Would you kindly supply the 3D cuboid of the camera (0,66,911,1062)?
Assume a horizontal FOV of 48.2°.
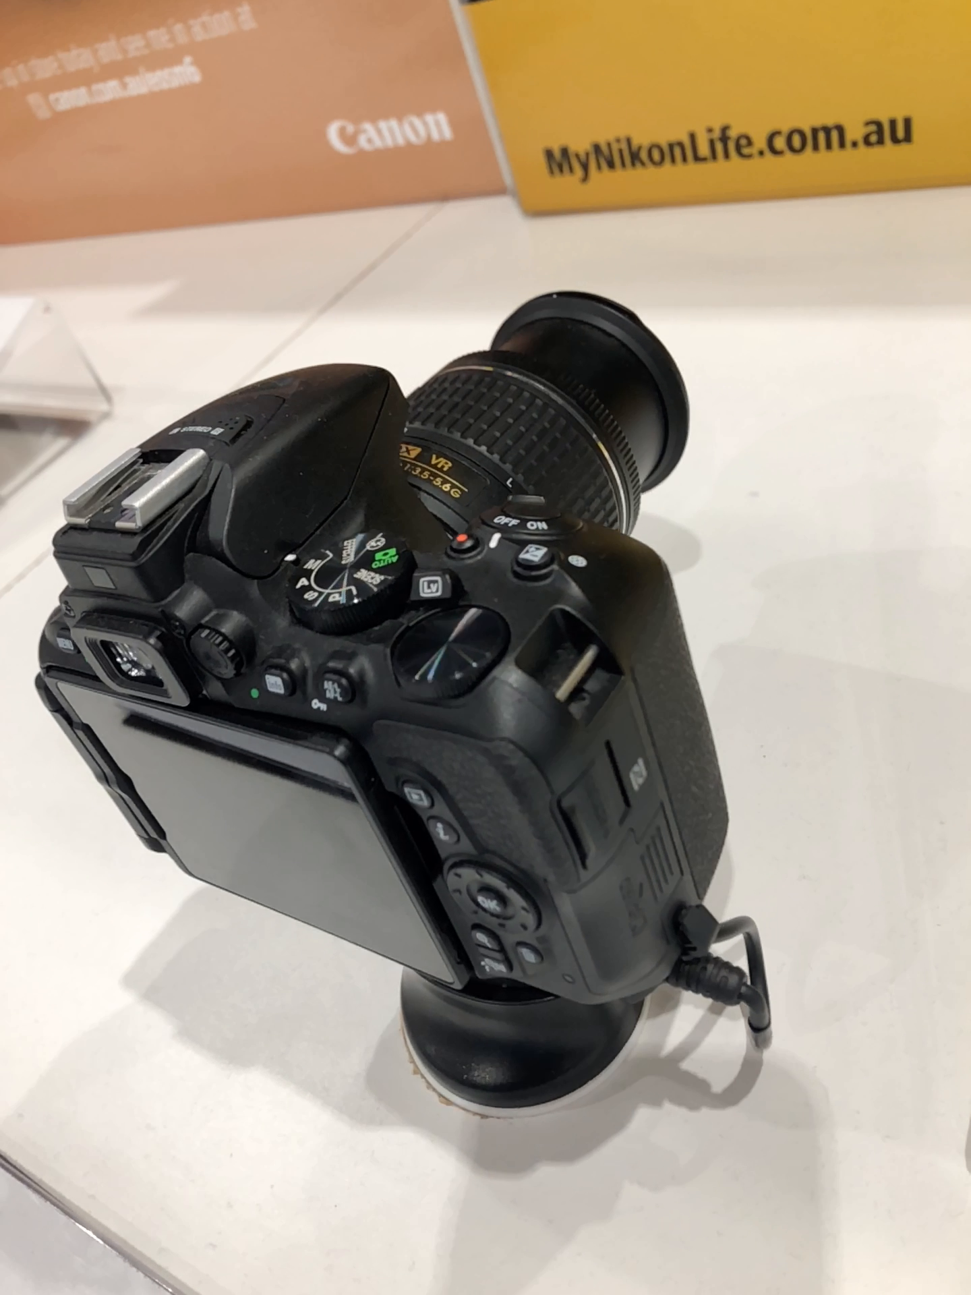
[{"bbox_3d":[-0.002,-0.031,0.230,0.128,0.096,0.163,11,49,35],"label":"camera"}]
